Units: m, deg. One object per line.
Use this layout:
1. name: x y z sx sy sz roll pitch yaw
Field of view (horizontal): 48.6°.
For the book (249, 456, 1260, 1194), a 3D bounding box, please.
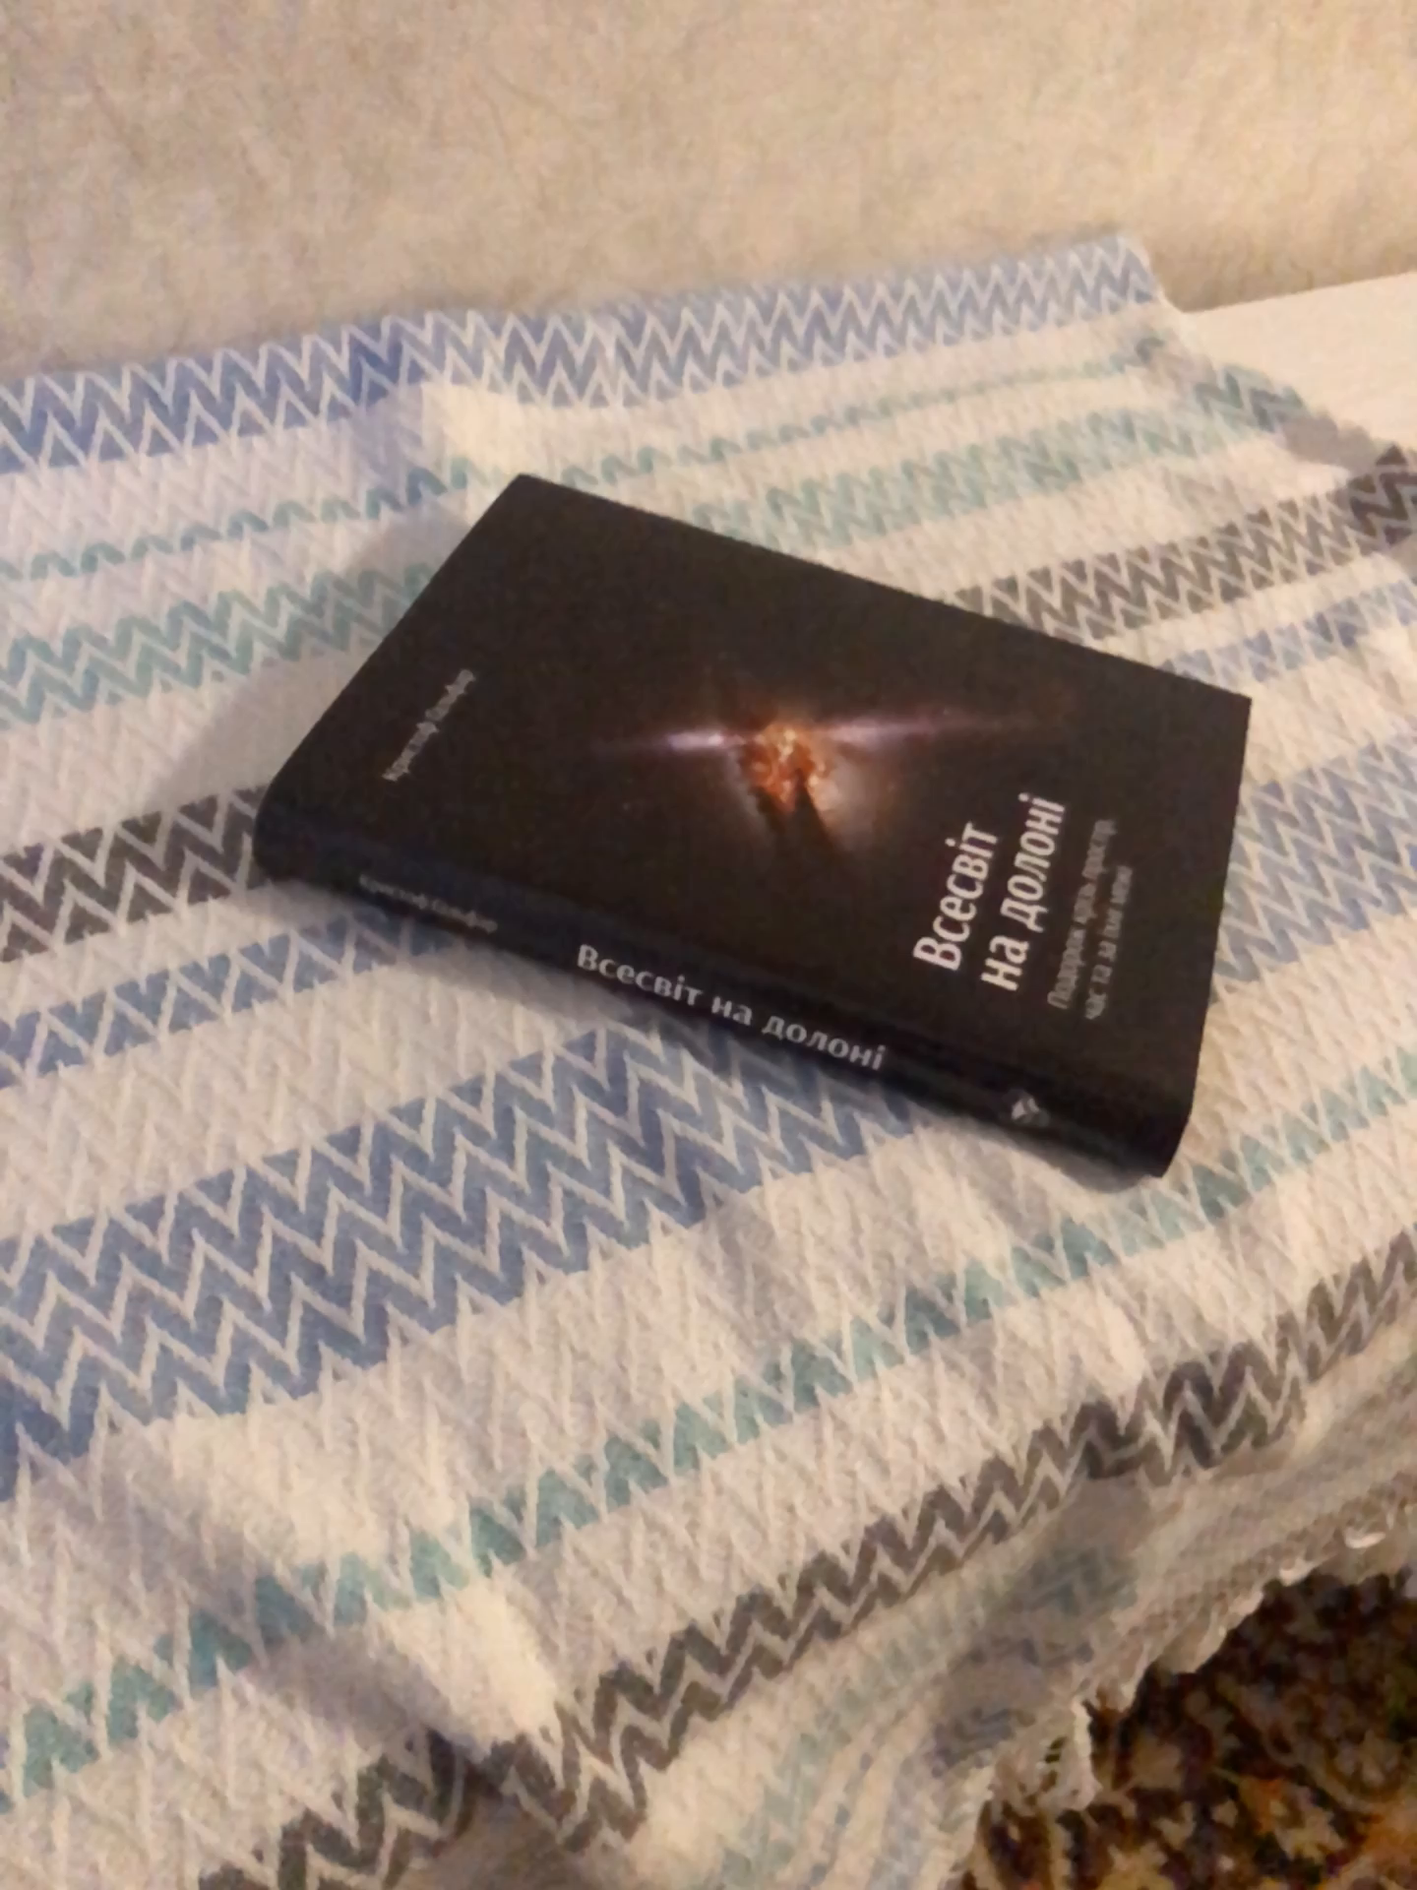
1. book: 0.023 -0.044 0.412 0.224 0.030 0.162 19 49 6
